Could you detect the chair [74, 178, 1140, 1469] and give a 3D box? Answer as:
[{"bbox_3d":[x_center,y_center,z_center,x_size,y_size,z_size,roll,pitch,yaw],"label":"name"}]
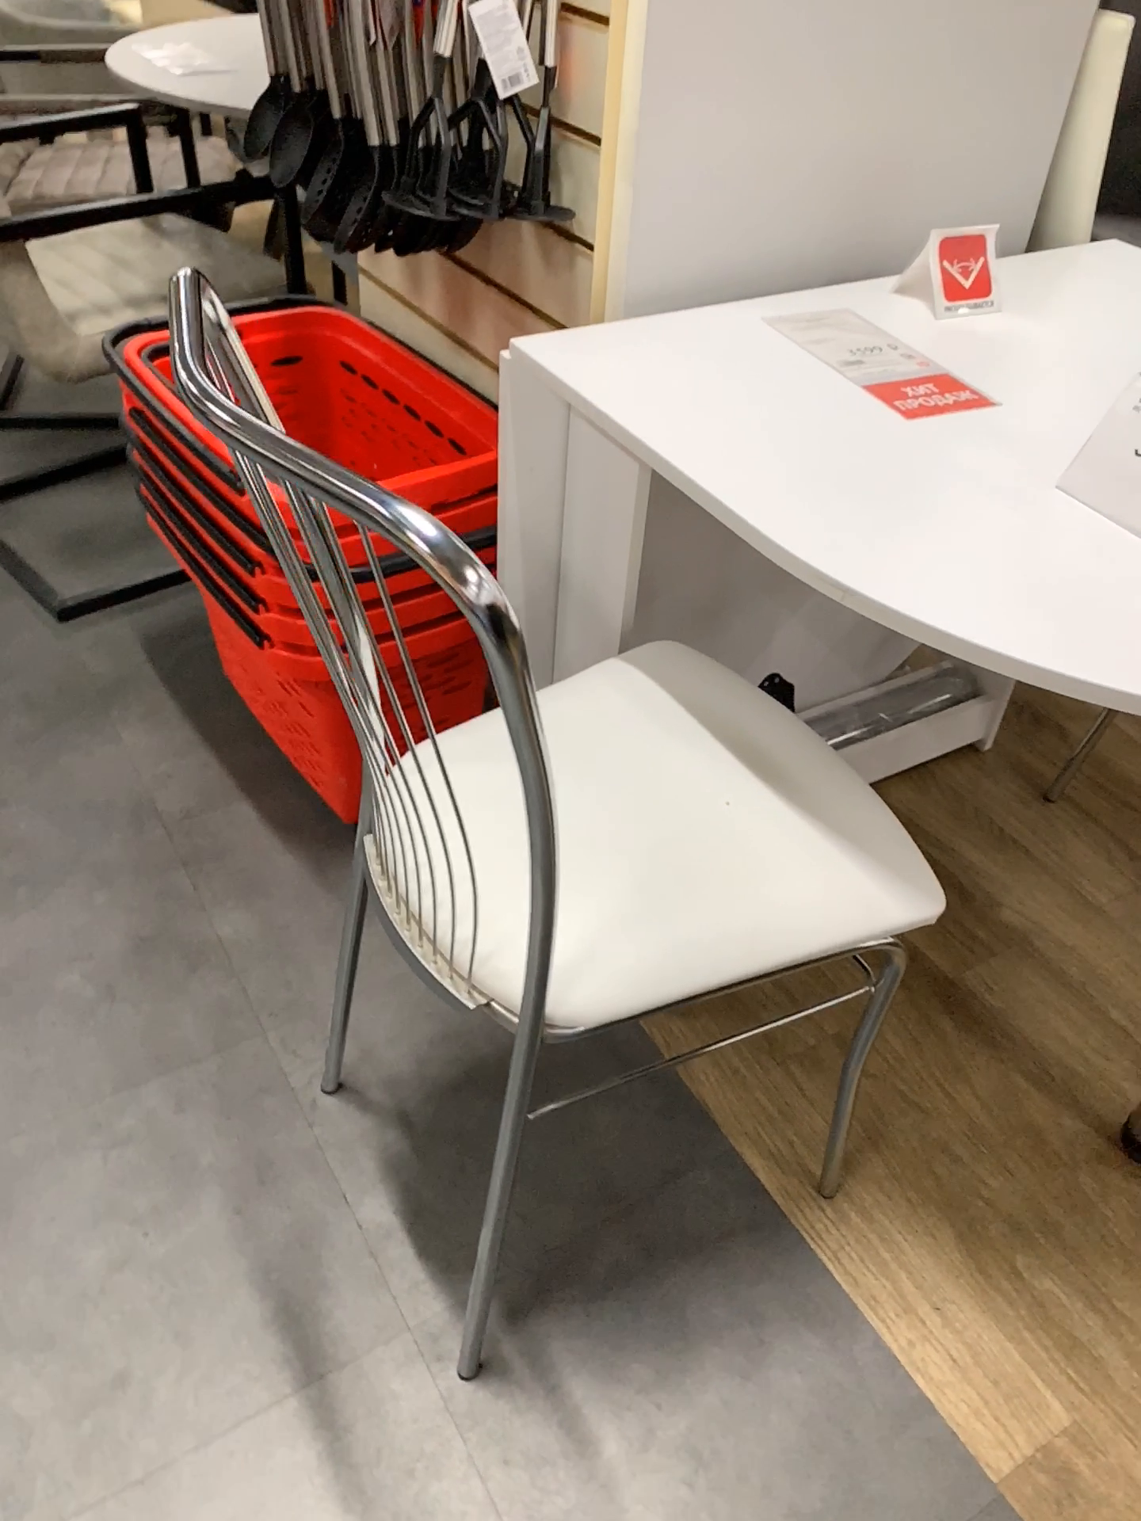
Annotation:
[{"bbox_3d":[0.005,0.082,1.043,0.551,0.954,0.452,-20,46,-26],"label":"chair"}]
